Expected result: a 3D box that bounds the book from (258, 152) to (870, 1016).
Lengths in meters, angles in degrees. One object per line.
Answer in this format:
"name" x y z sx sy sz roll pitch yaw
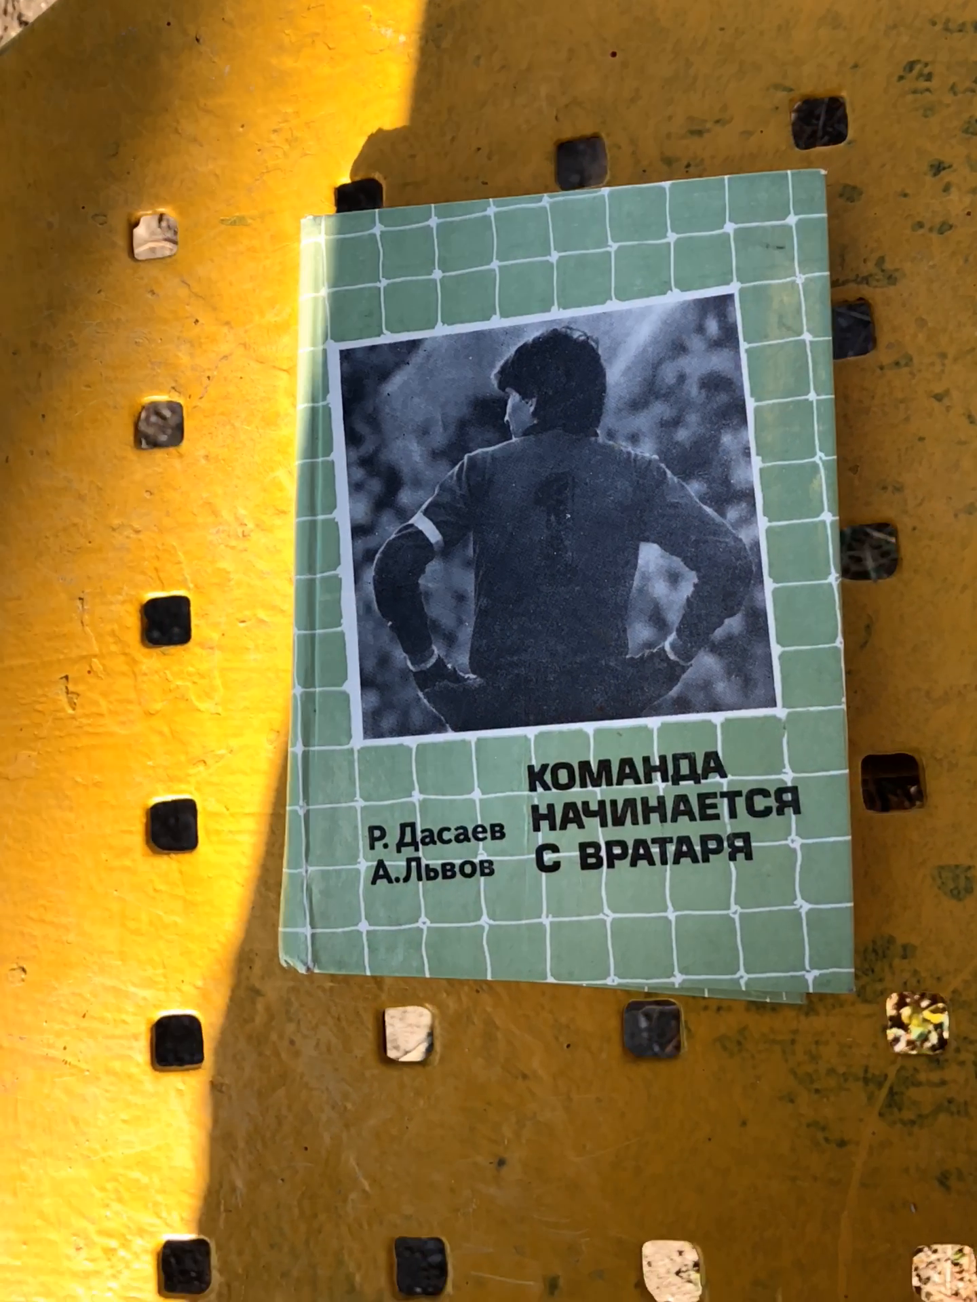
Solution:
"book" 0.015 -0.014 0.231 0.117 0.030 0.164 -1 84 12
